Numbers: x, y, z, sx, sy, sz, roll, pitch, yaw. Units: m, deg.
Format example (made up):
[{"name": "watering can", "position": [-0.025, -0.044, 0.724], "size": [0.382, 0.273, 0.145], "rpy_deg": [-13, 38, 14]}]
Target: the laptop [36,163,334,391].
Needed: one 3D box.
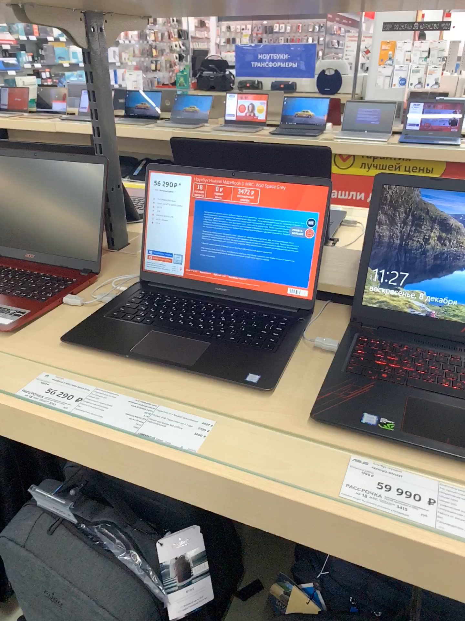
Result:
[{"name": "laptop", "position": [-0.052, -0.085, 0.765], "size": [0.348, 0.209, 0.304], "rpy_deg": [11, 30, 19]}]
